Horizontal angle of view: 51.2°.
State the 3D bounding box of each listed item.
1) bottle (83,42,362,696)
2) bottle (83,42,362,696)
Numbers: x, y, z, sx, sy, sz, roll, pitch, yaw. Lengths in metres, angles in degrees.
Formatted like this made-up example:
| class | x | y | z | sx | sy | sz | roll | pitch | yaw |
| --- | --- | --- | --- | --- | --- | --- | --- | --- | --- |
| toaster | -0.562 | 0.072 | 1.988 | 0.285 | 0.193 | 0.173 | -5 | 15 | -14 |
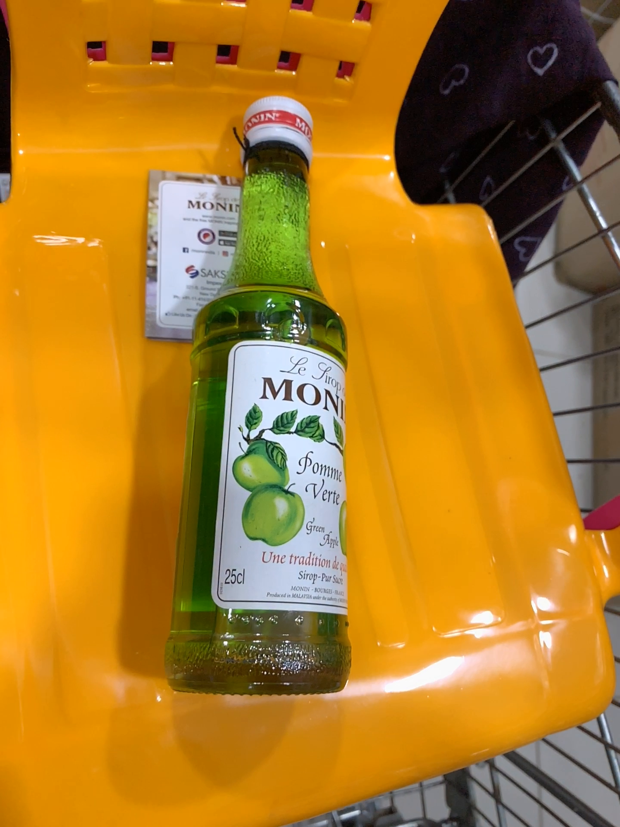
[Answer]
| class | x | y | z | sx | sy | sz | roll | pitch | yaw |
| --- | --- | --- | --- | --- | --- | --- | --- | --- | --- |
| bottle | -0.022 | -0.019 | 0.240 | 0.060 | 0.060 | 0.220 | -6 | 70 | 26 |
| bottle | -0.022 | -0.019 | 0.240 | 0.060 | 0.060 | 0.220 | -6 | 70 | 26 |
